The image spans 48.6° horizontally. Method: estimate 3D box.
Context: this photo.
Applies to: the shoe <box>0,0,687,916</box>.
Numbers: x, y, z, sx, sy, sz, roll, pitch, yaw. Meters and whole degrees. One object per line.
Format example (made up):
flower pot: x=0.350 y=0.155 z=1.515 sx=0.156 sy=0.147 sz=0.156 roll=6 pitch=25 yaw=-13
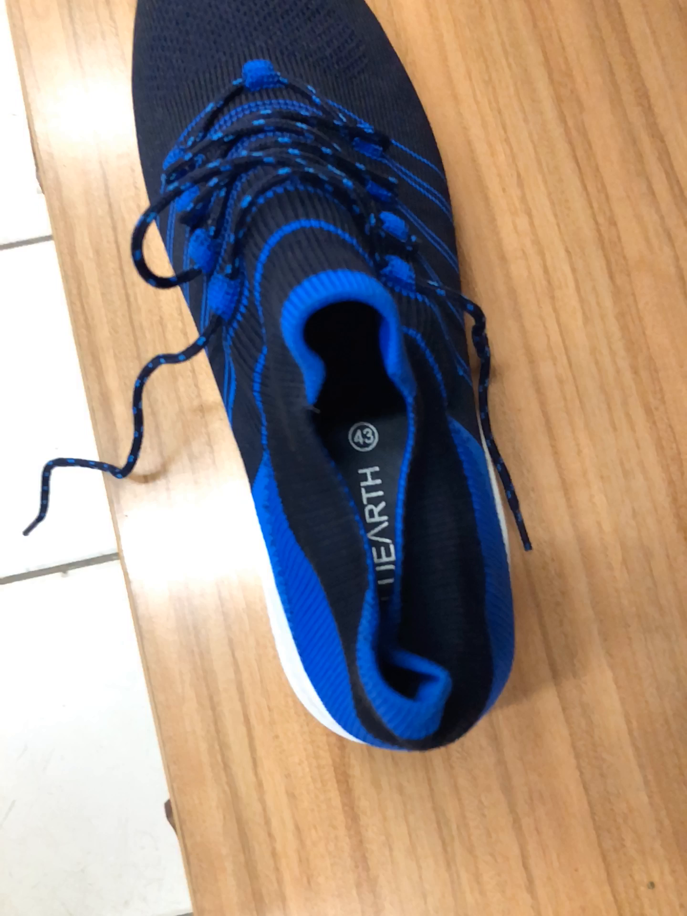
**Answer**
shoe: x=-0.003 y=-0.042 z=0.198 sx=0.110 sy=0.110 sz=0.260 roll=-16 pitch=82 yaw=-2
